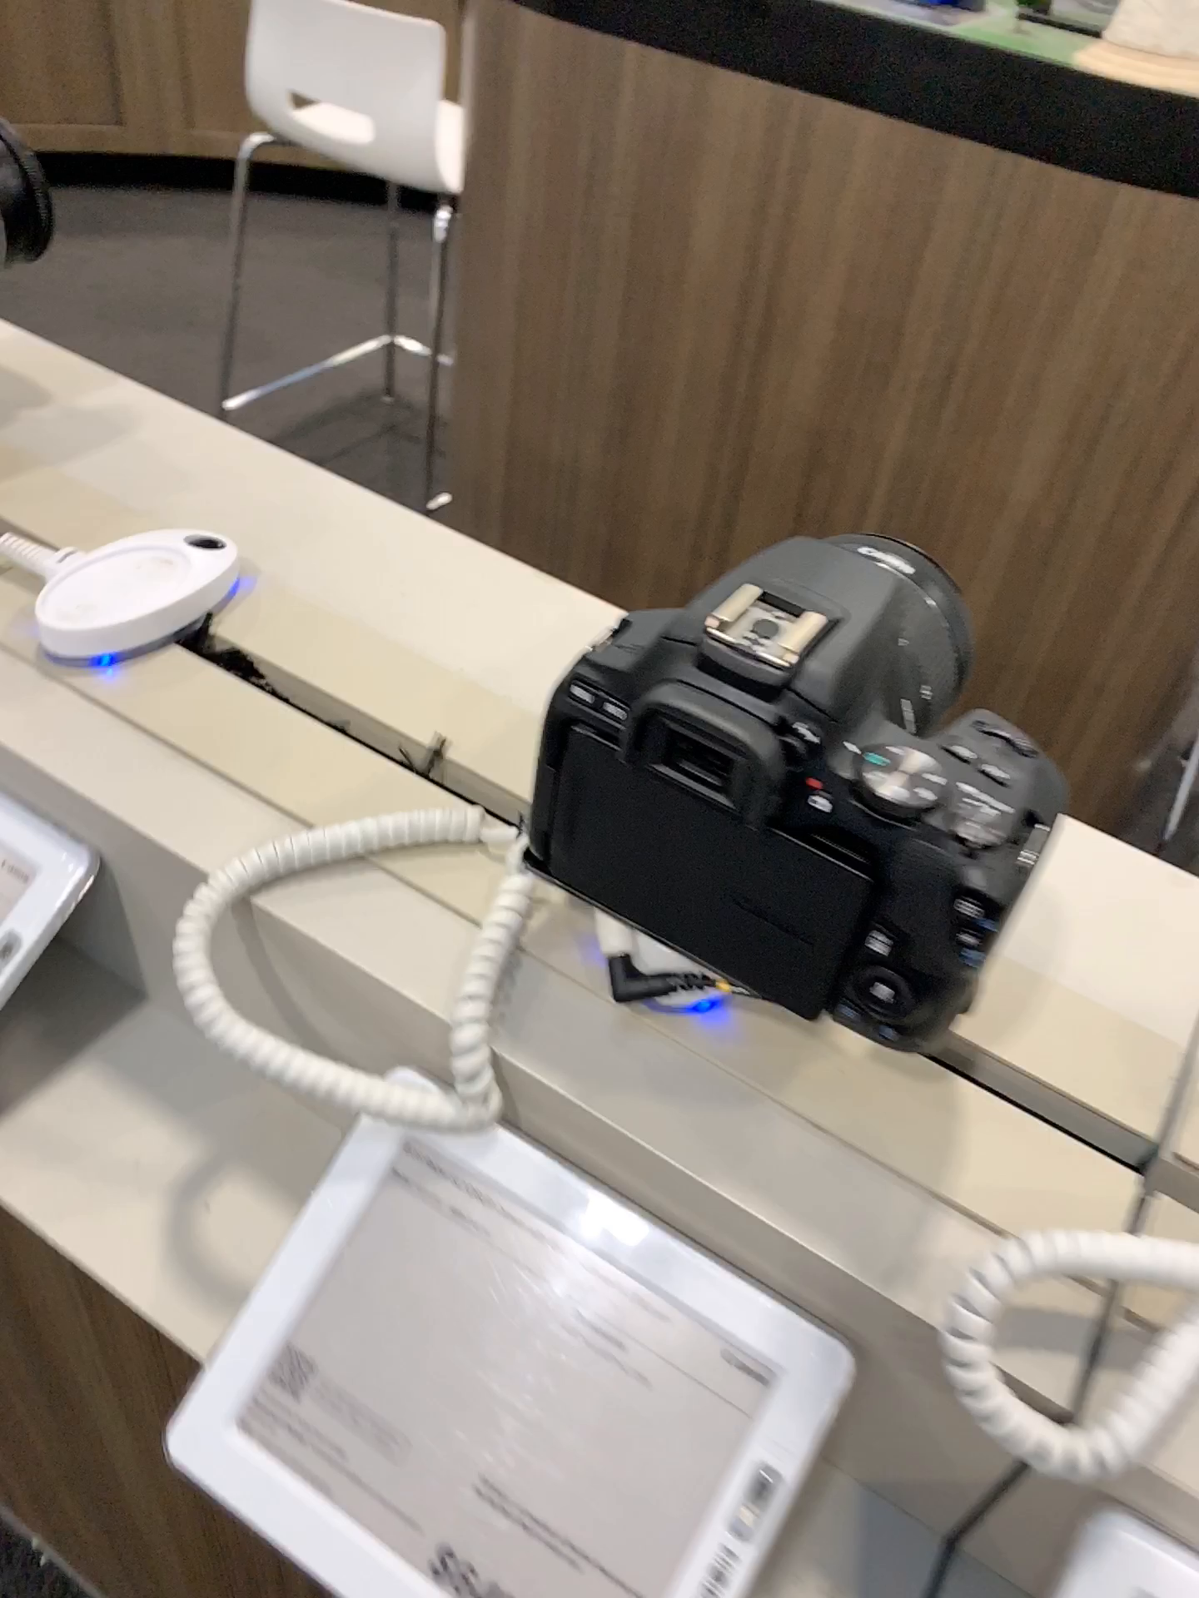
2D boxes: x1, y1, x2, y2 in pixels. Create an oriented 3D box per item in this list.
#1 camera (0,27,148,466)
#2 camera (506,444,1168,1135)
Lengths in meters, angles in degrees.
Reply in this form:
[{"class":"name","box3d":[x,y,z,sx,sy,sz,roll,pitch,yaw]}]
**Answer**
[{"class":"camera","box3d":[-0.294,-0.231,0.504,0.134,0.101,0.146,29,47,20]},{"class":"camera","box3d":[0.065,-0.012,0.340,0.121,0.089,0.135,25,45,16]}]
